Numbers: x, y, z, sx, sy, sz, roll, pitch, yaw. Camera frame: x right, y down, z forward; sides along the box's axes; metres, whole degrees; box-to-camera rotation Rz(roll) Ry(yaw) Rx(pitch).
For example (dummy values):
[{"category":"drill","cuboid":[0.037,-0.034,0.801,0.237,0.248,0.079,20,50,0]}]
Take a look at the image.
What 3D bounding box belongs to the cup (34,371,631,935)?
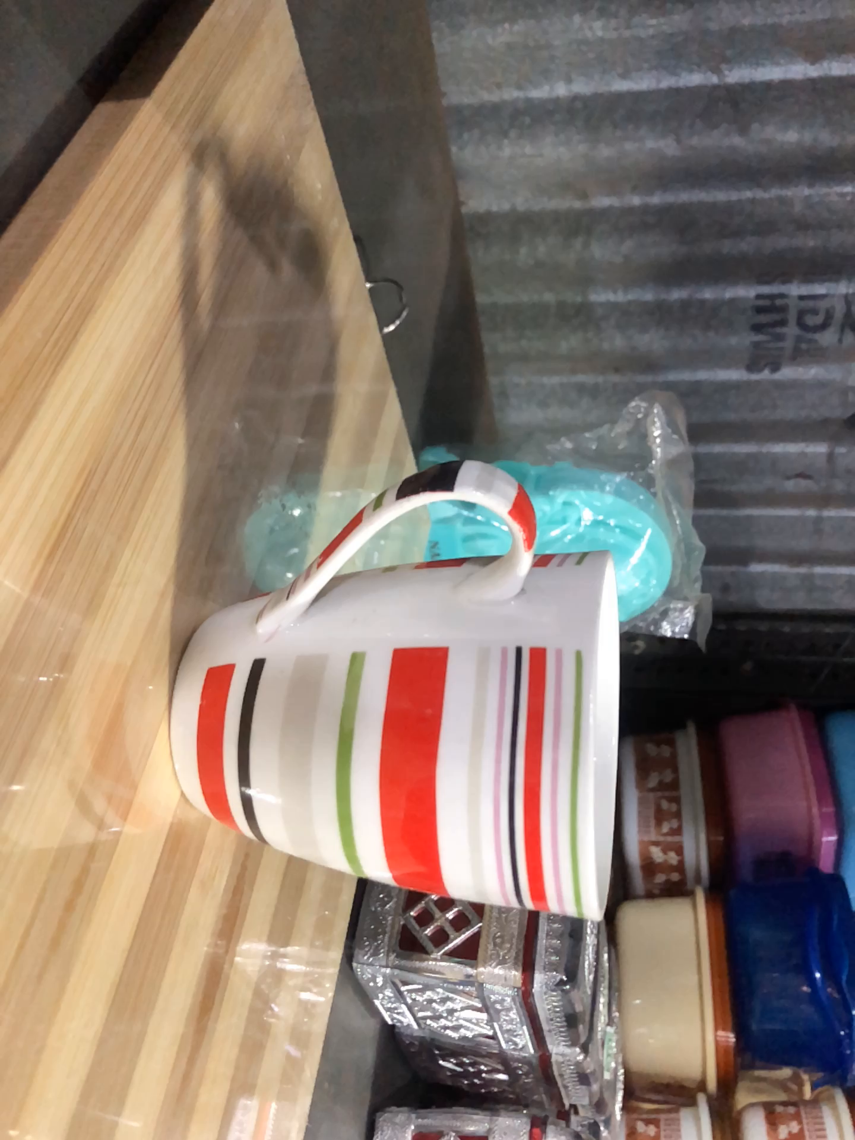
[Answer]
[{"category":"cup","cuboid":[-0.005,0.024,0.223,0.110,0.100,0.080,74,21,-52]}]
